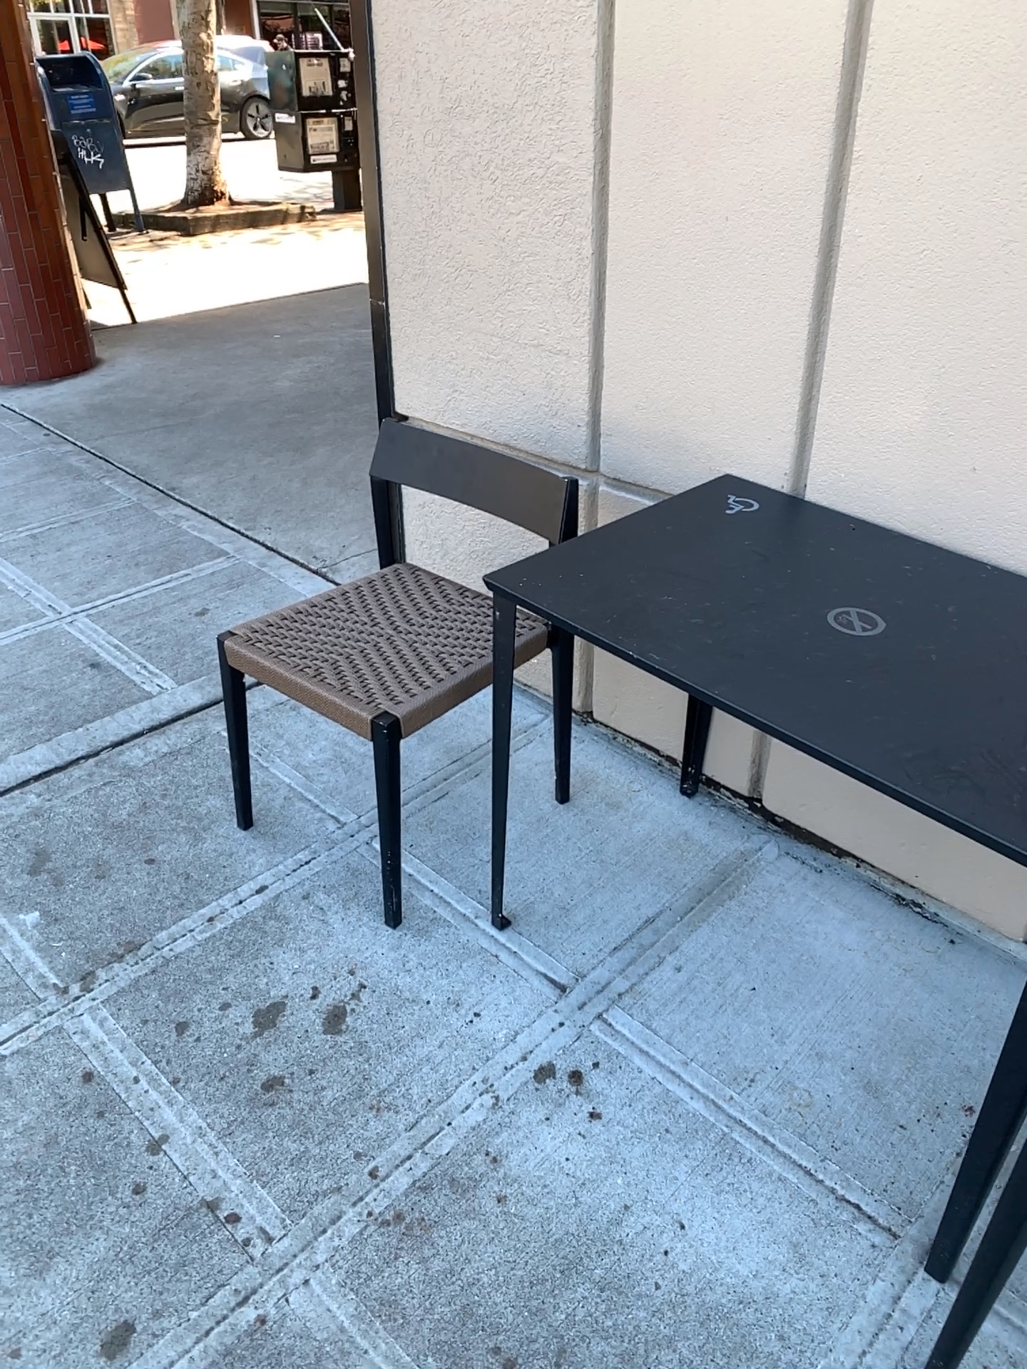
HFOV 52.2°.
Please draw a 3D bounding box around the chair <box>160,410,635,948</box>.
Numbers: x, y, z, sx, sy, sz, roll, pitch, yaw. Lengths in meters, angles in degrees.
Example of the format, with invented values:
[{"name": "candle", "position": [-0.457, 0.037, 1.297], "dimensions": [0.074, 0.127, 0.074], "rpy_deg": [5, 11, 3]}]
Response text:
[{"name": "chair", "position": [-0.182, -0.054, 1.889], "dimensions": [0.552, 0.666, 0.551], "rpy_deg": [23, 37, 34]}]
